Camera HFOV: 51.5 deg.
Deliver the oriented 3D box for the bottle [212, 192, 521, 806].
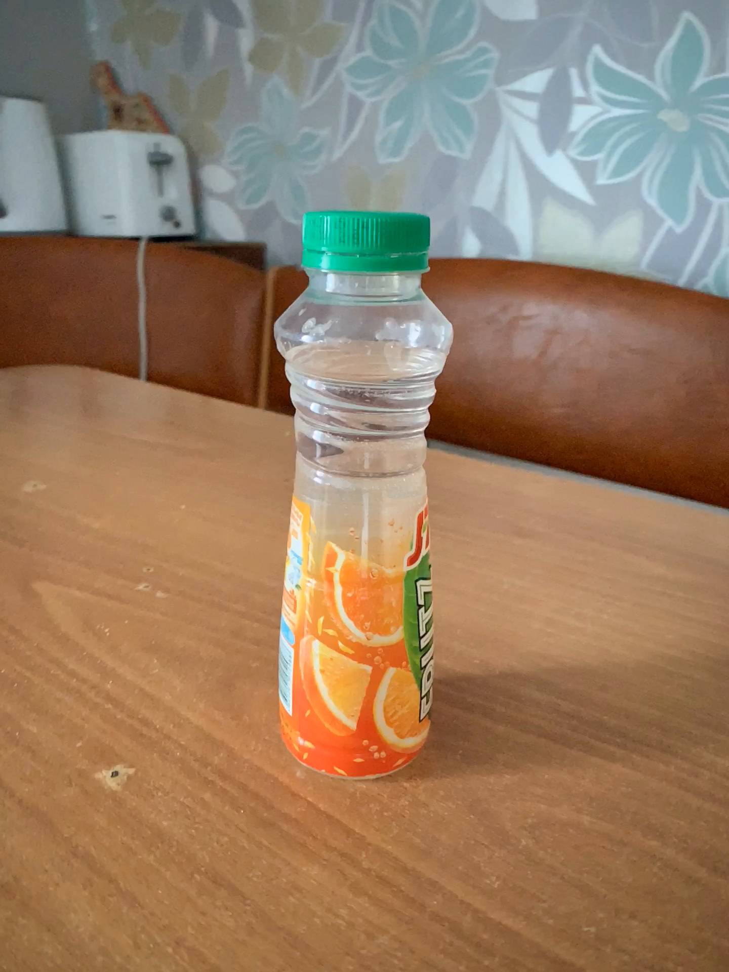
[{"bbox_3d":[-0.001,0.001,0.277,0.070,0.201,0.070,1,21,-1],"label":"bottle"}]
